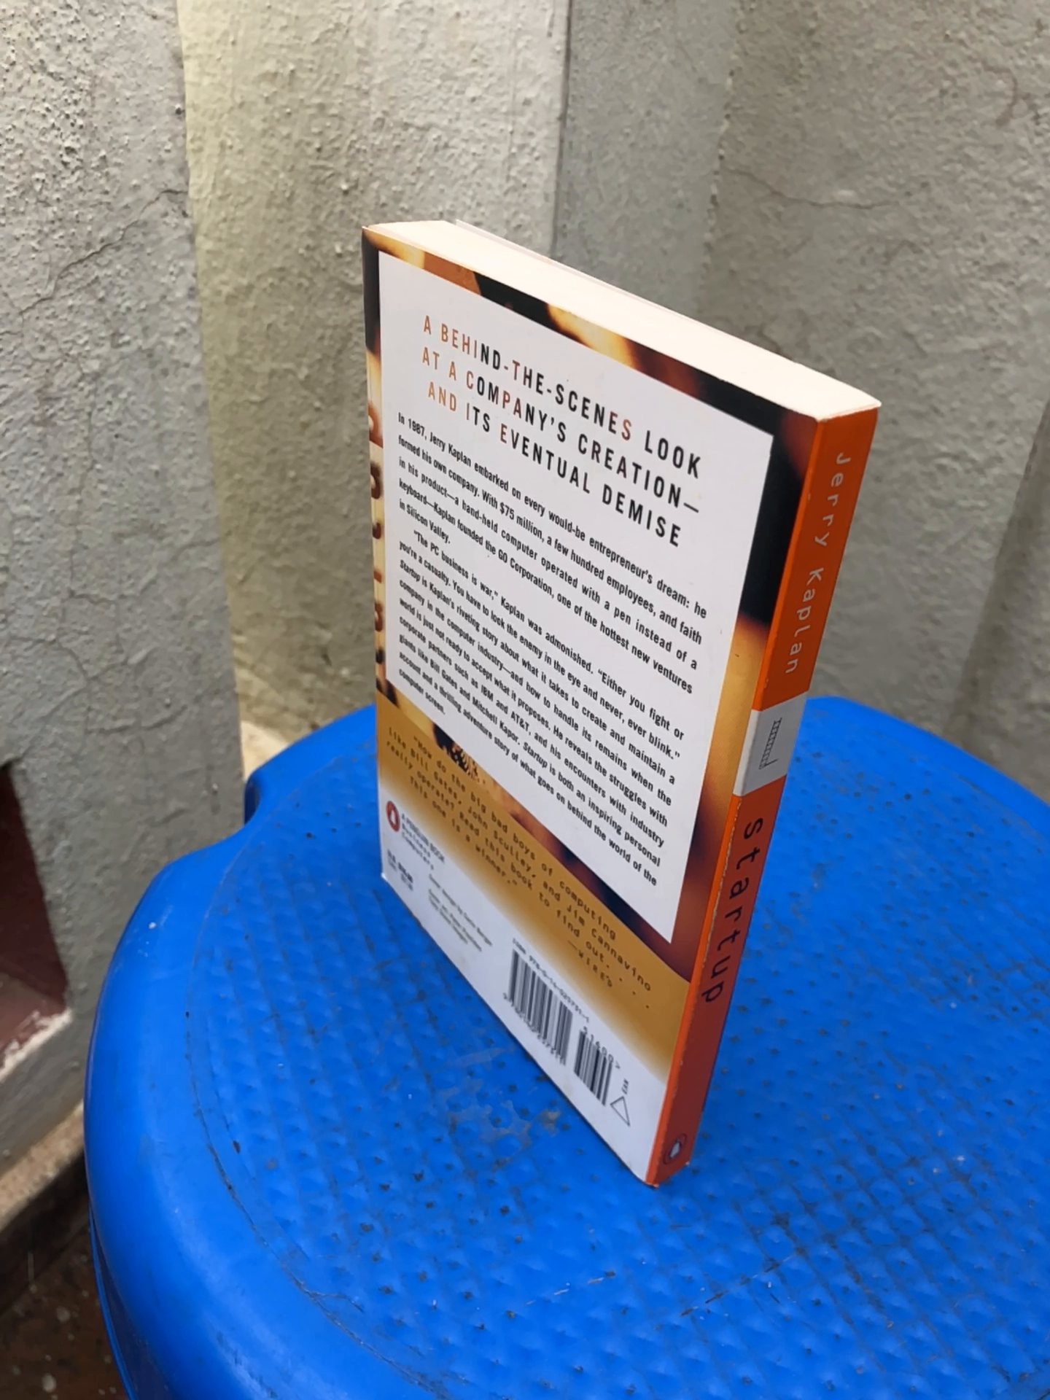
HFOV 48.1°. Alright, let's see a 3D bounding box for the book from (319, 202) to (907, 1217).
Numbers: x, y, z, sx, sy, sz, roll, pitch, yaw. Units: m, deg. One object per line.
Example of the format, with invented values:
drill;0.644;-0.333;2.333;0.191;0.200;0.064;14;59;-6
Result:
book;0.001;0.003;0.280;0.030;0.199;0.140;-19;41;-31
